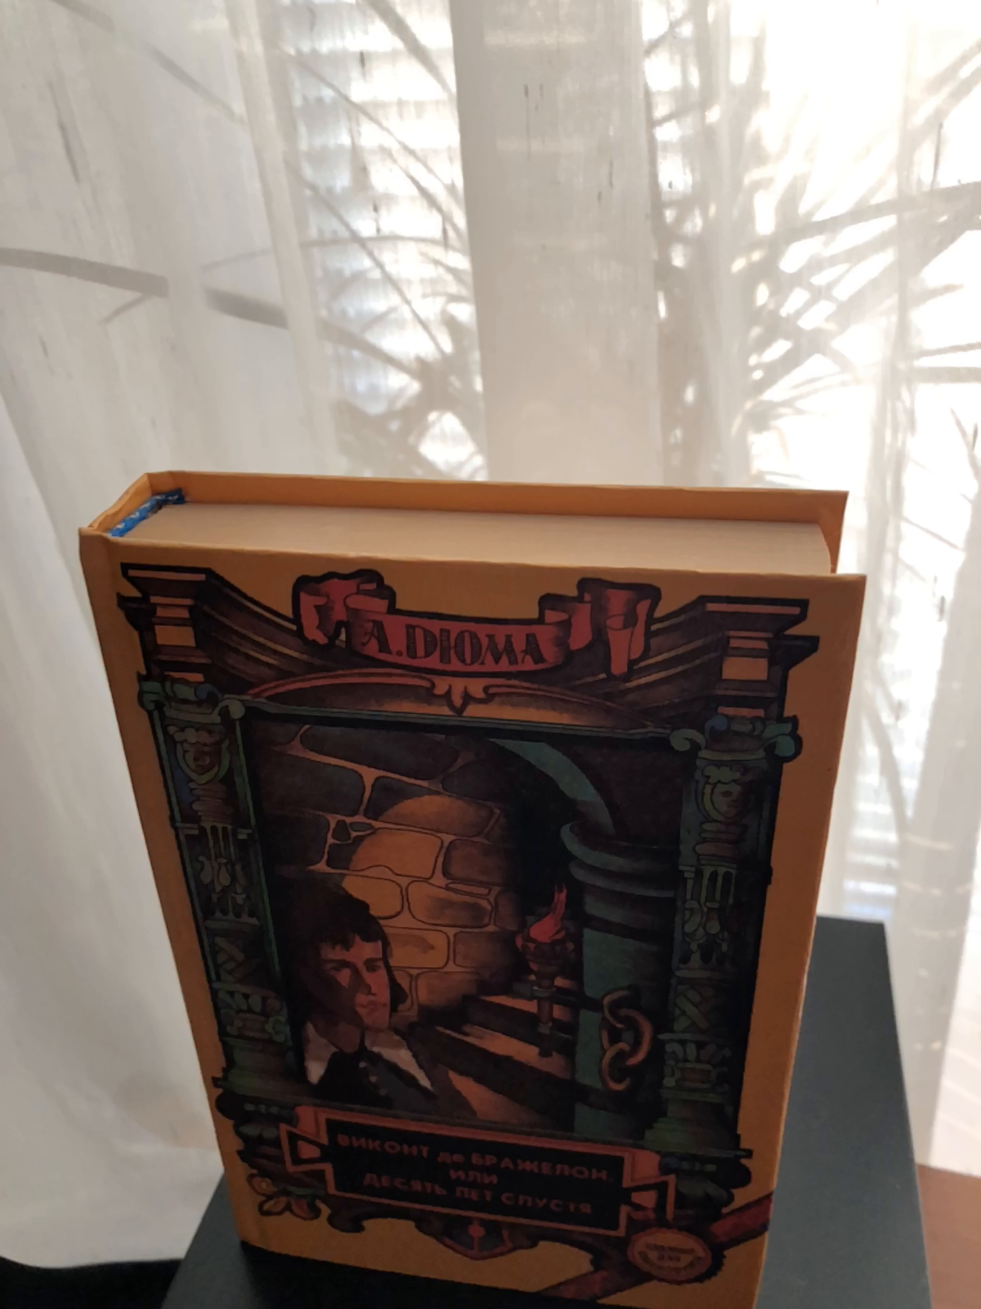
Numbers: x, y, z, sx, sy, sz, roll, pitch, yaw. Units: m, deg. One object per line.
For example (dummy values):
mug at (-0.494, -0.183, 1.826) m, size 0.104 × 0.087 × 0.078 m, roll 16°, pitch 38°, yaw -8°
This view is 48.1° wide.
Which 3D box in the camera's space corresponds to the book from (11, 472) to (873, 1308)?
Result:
book at (-0.004, 0.063, 0.239) m, size 0.141 × 0.197 × 0.040 m, roll 3°, pitch 29°, yaw 11°
